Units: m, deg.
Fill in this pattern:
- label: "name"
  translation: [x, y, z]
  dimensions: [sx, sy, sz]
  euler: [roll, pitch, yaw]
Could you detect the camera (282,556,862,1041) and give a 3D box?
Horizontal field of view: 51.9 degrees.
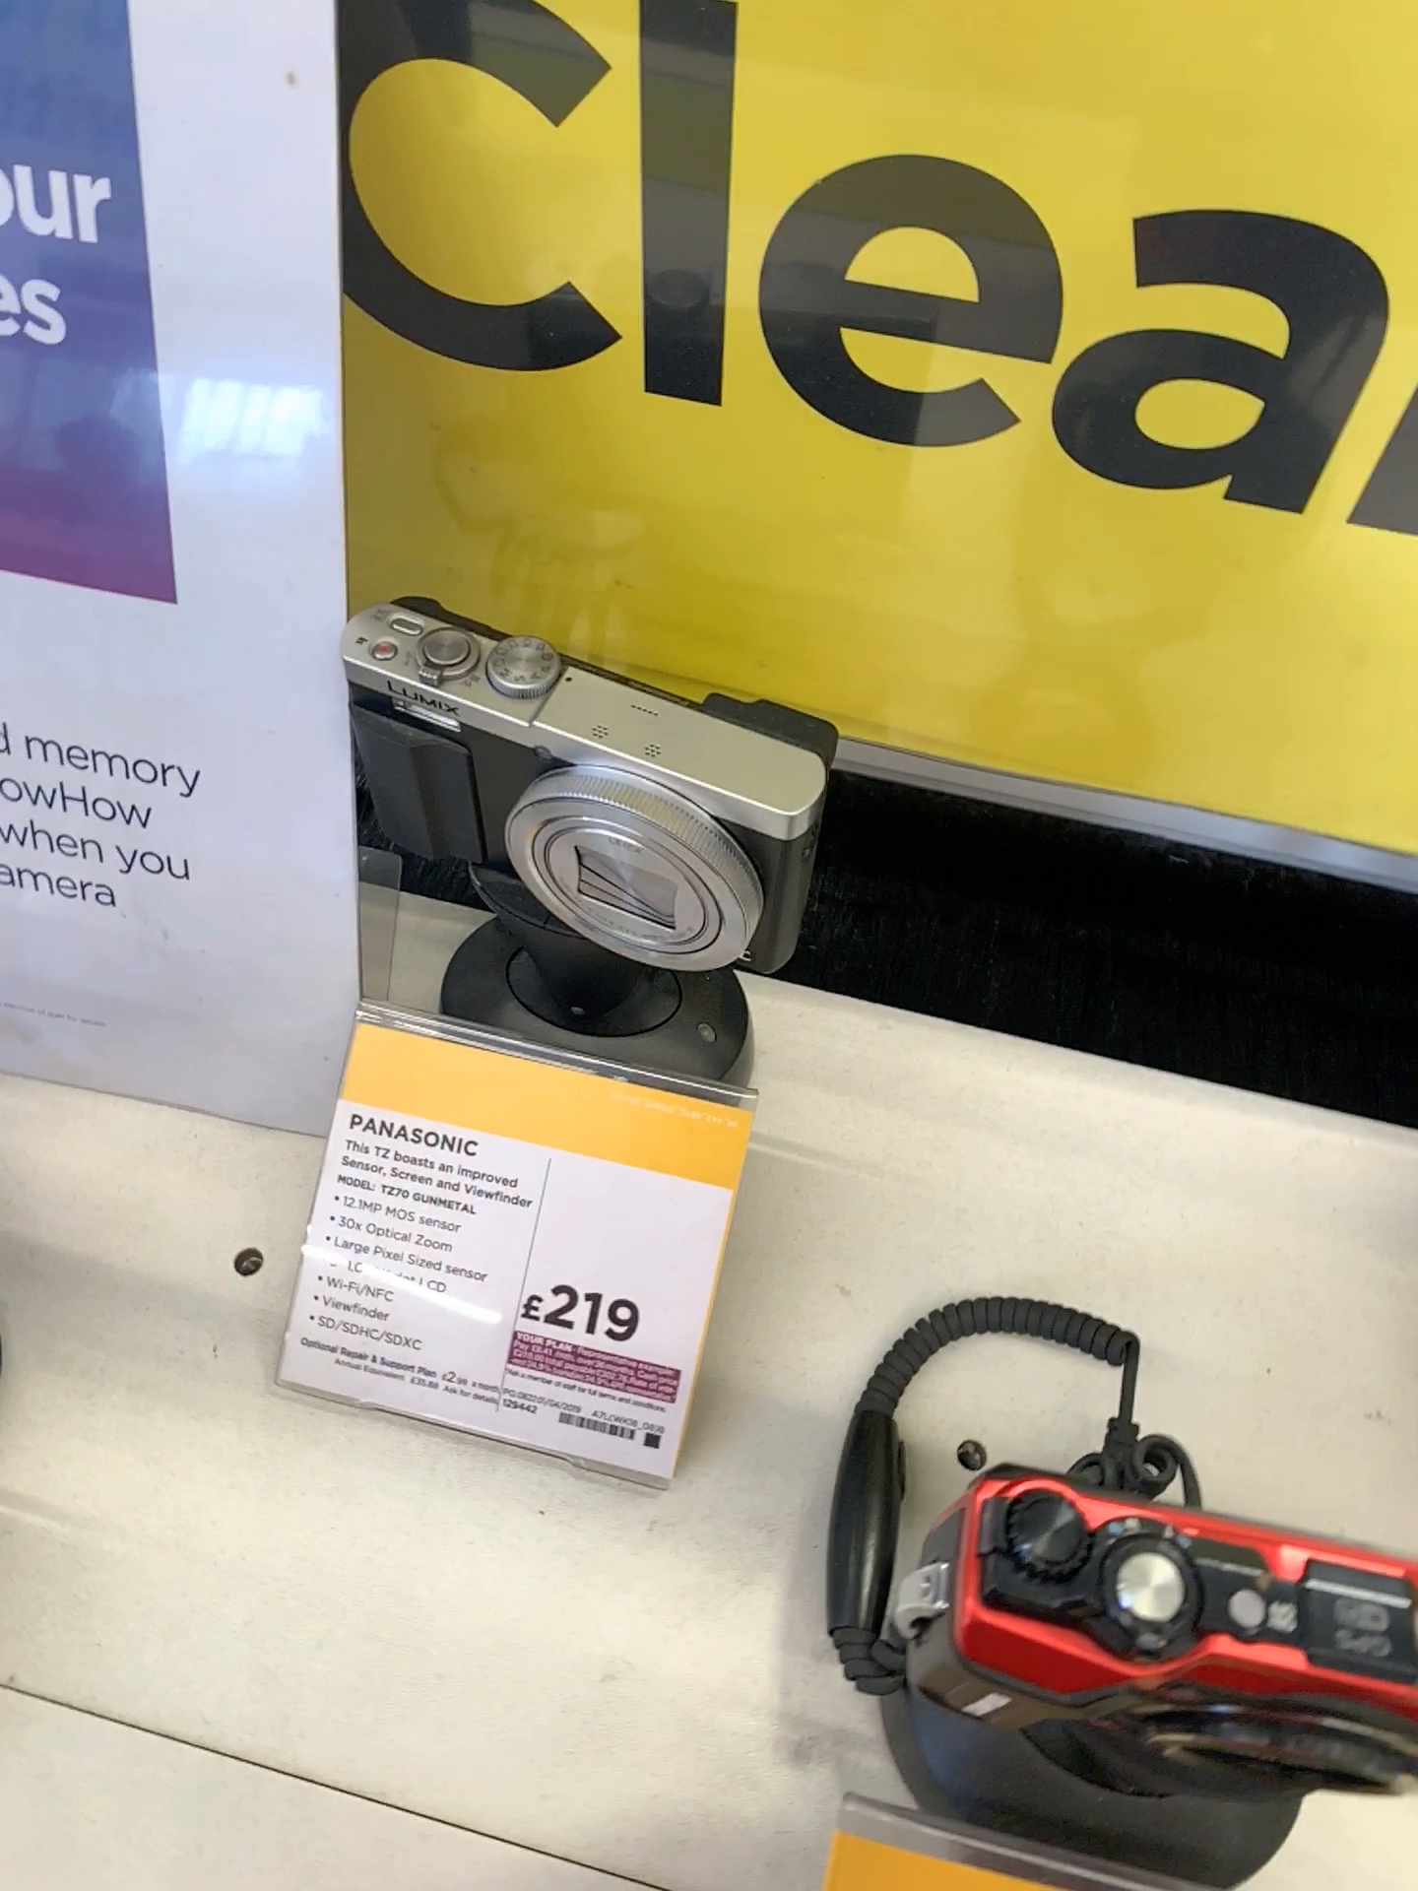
- label: "camera"
  translation: [-0.029, -0.031, 0.323]
  dimensions: [0.110, 0.070, 0.040]
  euler: [21, 60, 10]
